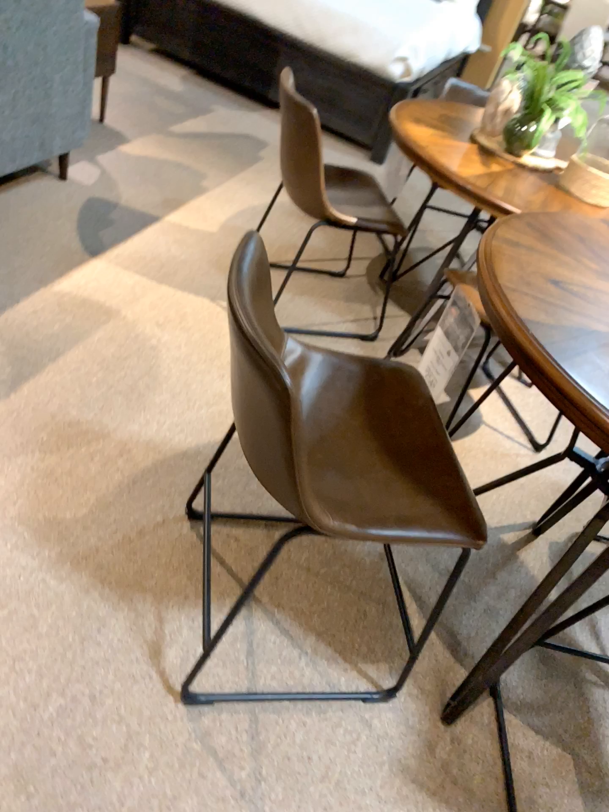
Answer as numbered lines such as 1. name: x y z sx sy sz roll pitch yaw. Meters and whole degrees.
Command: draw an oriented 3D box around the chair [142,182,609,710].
1. chair: 0.040 0.128 1.241 0.580 0.806 0.603 8 42 -15
